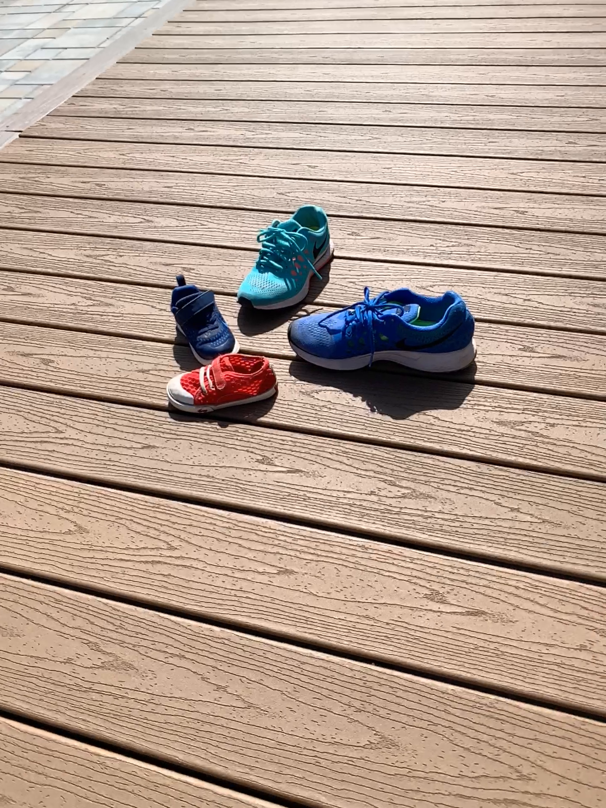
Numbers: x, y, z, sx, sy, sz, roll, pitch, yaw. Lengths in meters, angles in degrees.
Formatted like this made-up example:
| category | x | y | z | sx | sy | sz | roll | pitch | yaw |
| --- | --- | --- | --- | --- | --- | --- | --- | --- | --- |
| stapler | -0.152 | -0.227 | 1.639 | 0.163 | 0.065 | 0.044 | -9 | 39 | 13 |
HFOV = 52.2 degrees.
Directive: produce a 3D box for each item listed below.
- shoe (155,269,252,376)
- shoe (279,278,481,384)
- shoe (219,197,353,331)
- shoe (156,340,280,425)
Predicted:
| category | x | y | z | sx | sy | sz | roll | pitch | yaw |
| --- | --- | --- | --- | --- | --- | --- | --- | --- | --- |
| shoe | -0.165 | -0.138 | 1.013 | 0.090 | 0.070 | 0.171 | -24 | 48 | -17 |
| shoe | 0.121 | -0.116 | 0.963 | 0.290 | 0.090 | 0.120 | 5 | 46 | 11 |
| shoe | -0.021 | -0.261 | 1.120 | 0.120 | 0.090 | 0.271 | 18 | 50 | 22 |
| shoe | -0.127 | -0.033 | 0.925 | 0.170 | 0.060 | 0.080 | -11 | 45 | -4 |
